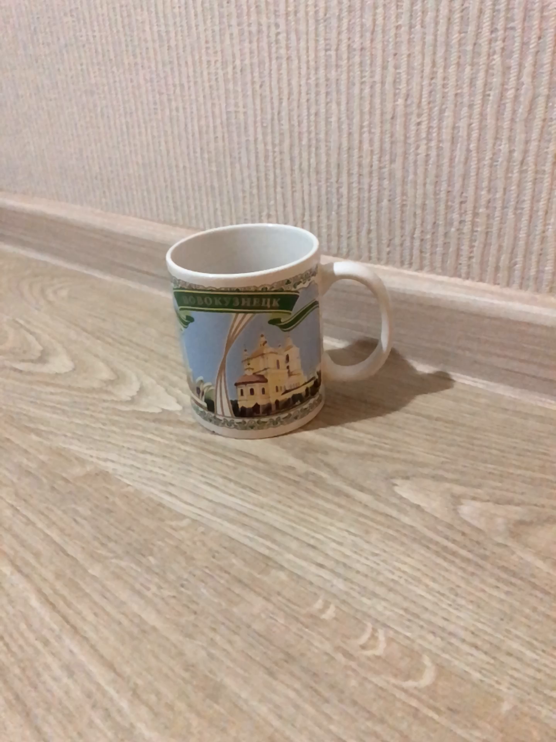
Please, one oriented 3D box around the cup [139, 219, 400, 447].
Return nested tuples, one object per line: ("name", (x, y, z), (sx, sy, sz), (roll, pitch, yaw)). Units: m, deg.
("cup", (0.003, -0.024, 0.340), (0.121, 0.096, 0.082), (1, 29, 9))
